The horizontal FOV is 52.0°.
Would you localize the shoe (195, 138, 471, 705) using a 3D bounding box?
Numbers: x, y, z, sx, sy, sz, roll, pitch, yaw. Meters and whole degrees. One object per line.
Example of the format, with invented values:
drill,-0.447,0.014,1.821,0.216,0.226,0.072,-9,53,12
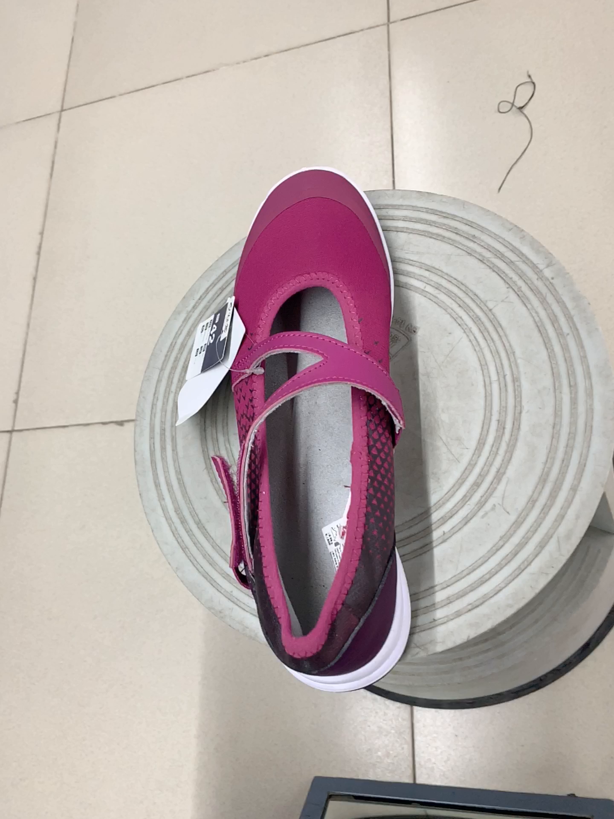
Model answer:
shoe,0.008,0.003,0.325,0.100,0.070,0.260,-11,70,16
